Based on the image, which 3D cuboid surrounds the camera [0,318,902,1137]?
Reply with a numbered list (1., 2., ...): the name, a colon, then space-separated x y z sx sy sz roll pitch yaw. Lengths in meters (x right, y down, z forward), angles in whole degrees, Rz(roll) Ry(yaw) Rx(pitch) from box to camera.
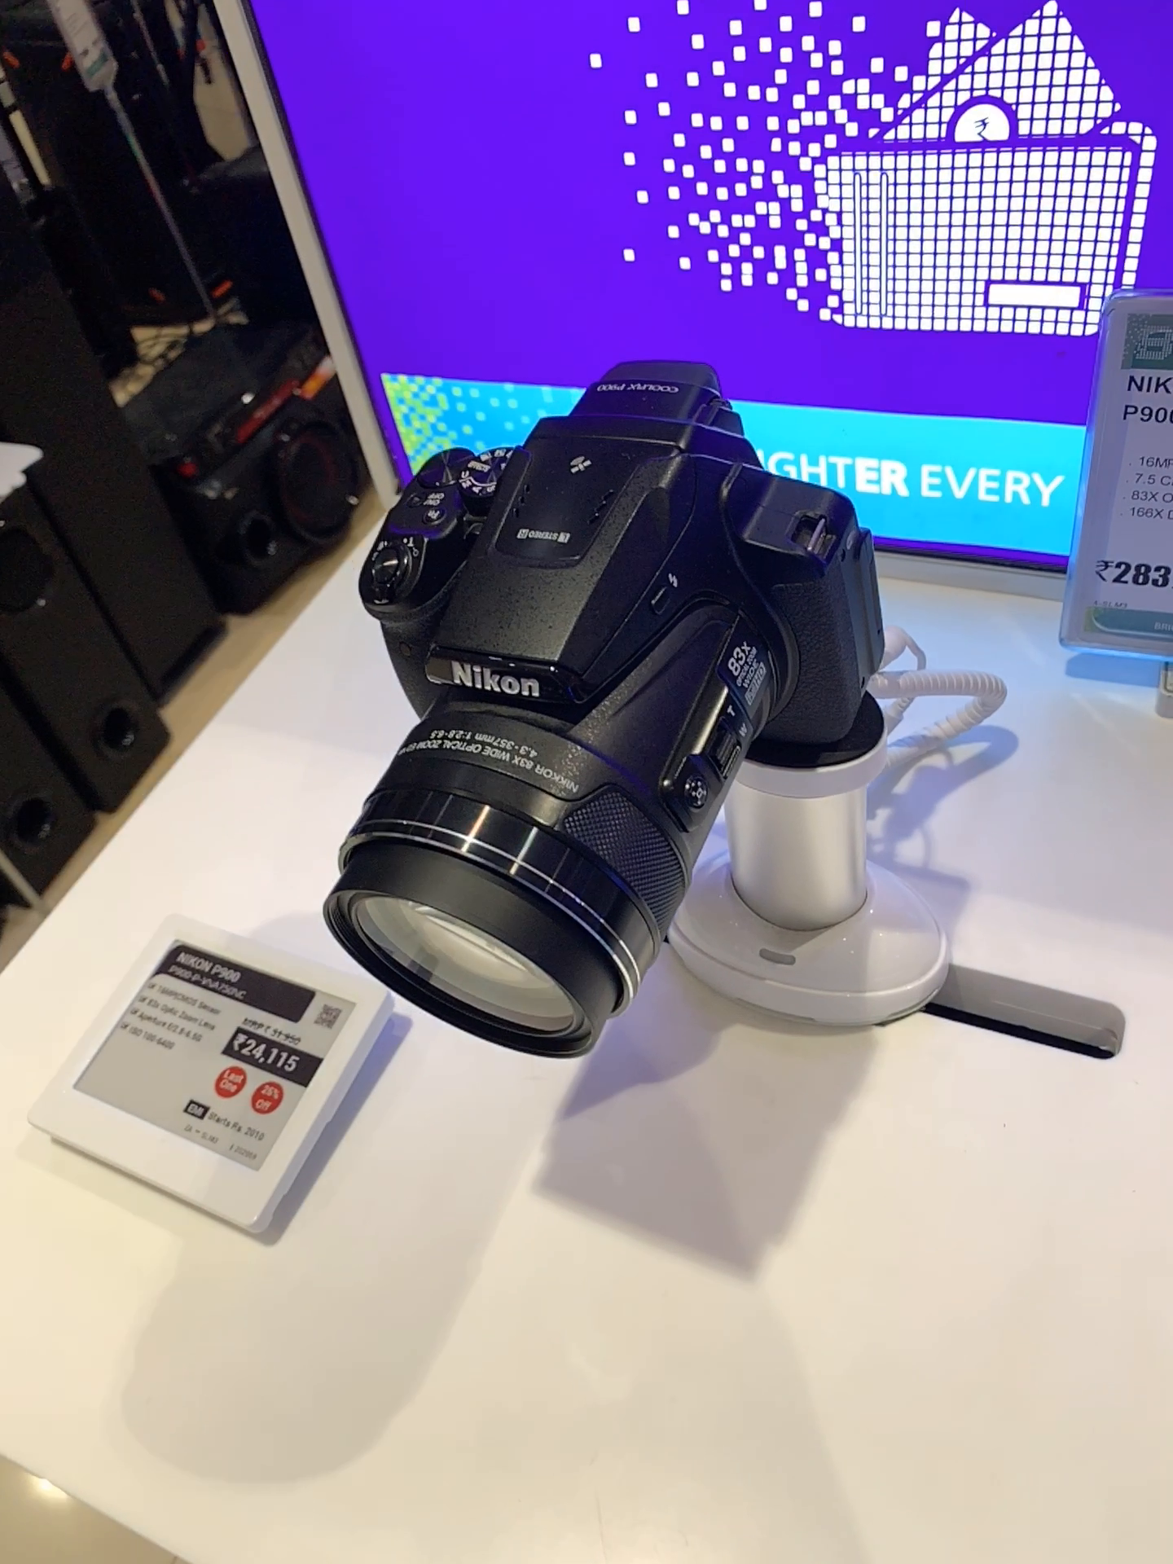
1. camera: -0.015 -0.027 0.293 0.140 0.090 0.160 12 51 23
